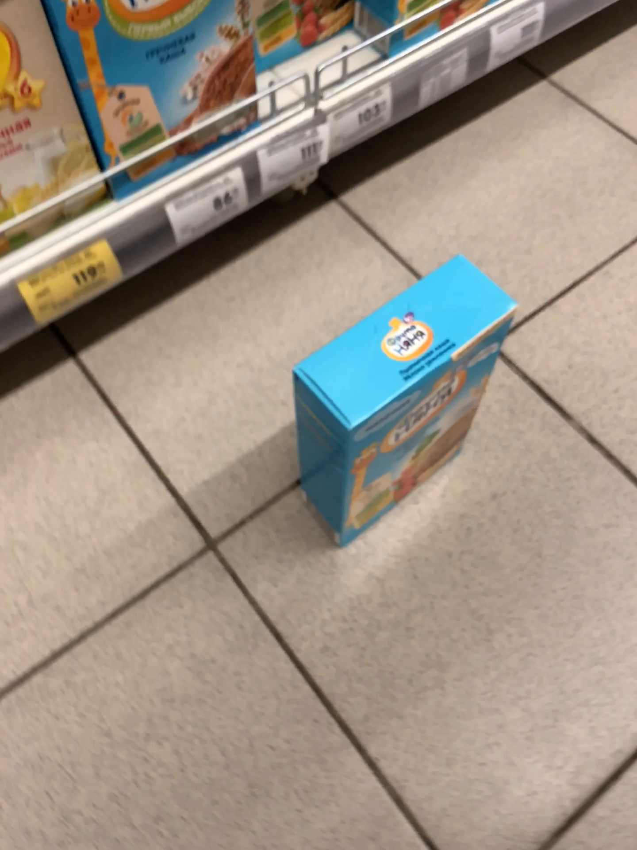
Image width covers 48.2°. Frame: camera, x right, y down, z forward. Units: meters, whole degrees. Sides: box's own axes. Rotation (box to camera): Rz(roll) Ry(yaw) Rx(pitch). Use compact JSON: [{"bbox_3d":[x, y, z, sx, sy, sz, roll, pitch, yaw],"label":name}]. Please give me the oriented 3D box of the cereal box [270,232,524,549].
[{"bbox_3d":[0.047,-0.011,0.491,0.140,0.199,0.060,-37,68,-17],"label":"cereal box"}]
